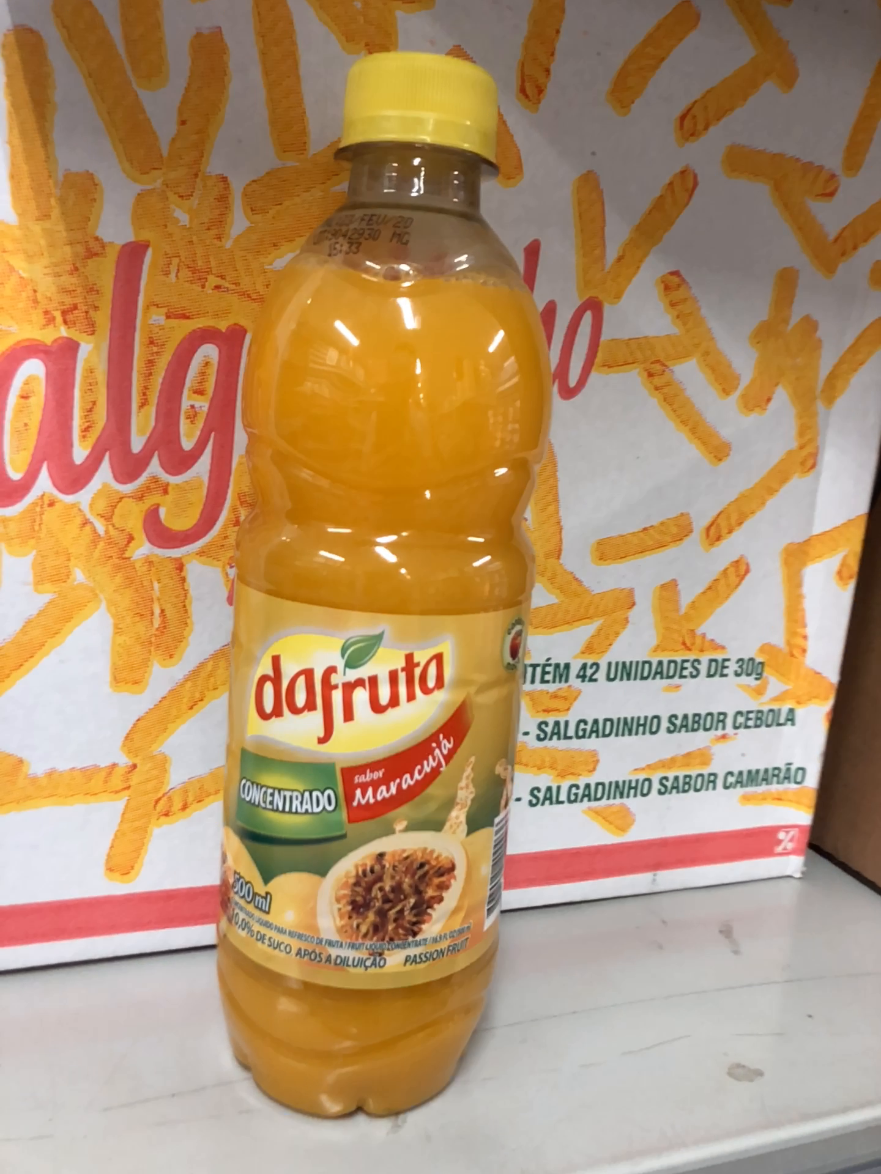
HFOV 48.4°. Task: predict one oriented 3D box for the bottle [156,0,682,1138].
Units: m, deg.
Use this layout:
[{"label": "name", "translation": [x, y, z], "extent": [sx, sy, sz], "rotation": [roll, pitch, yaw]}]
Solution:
[{"label": "bottle", "translation": [-0.011, 0.001, 0.194], "extent": [0.070, 0.199, 0.060], "rotation": [5, 14, -5]}]
